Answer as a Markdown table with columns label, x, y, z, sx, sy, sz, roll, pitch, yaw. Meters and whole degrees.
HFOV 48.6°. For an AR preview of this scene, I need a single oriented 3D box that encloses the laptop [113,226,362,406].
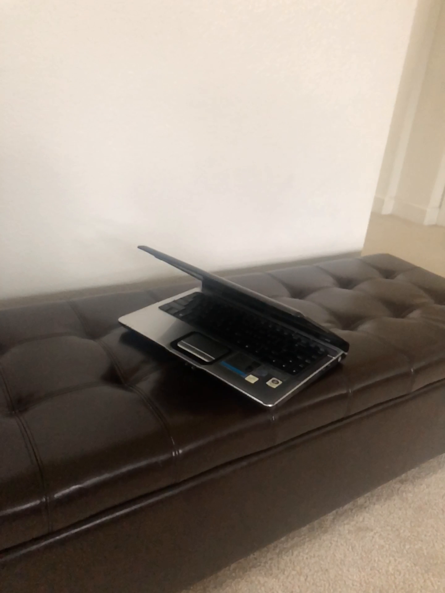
| label | x | y | z | sx | sy | sz | roll | pitch | yaw |
| --- | --- | --- | --- | --- | --- | --- | --- | --- | --- |
| laptop | 0.016 | 0.004 | 0.806 | 0.333 | 0.122 | 0.230 | 24 | 29 | 34 |
